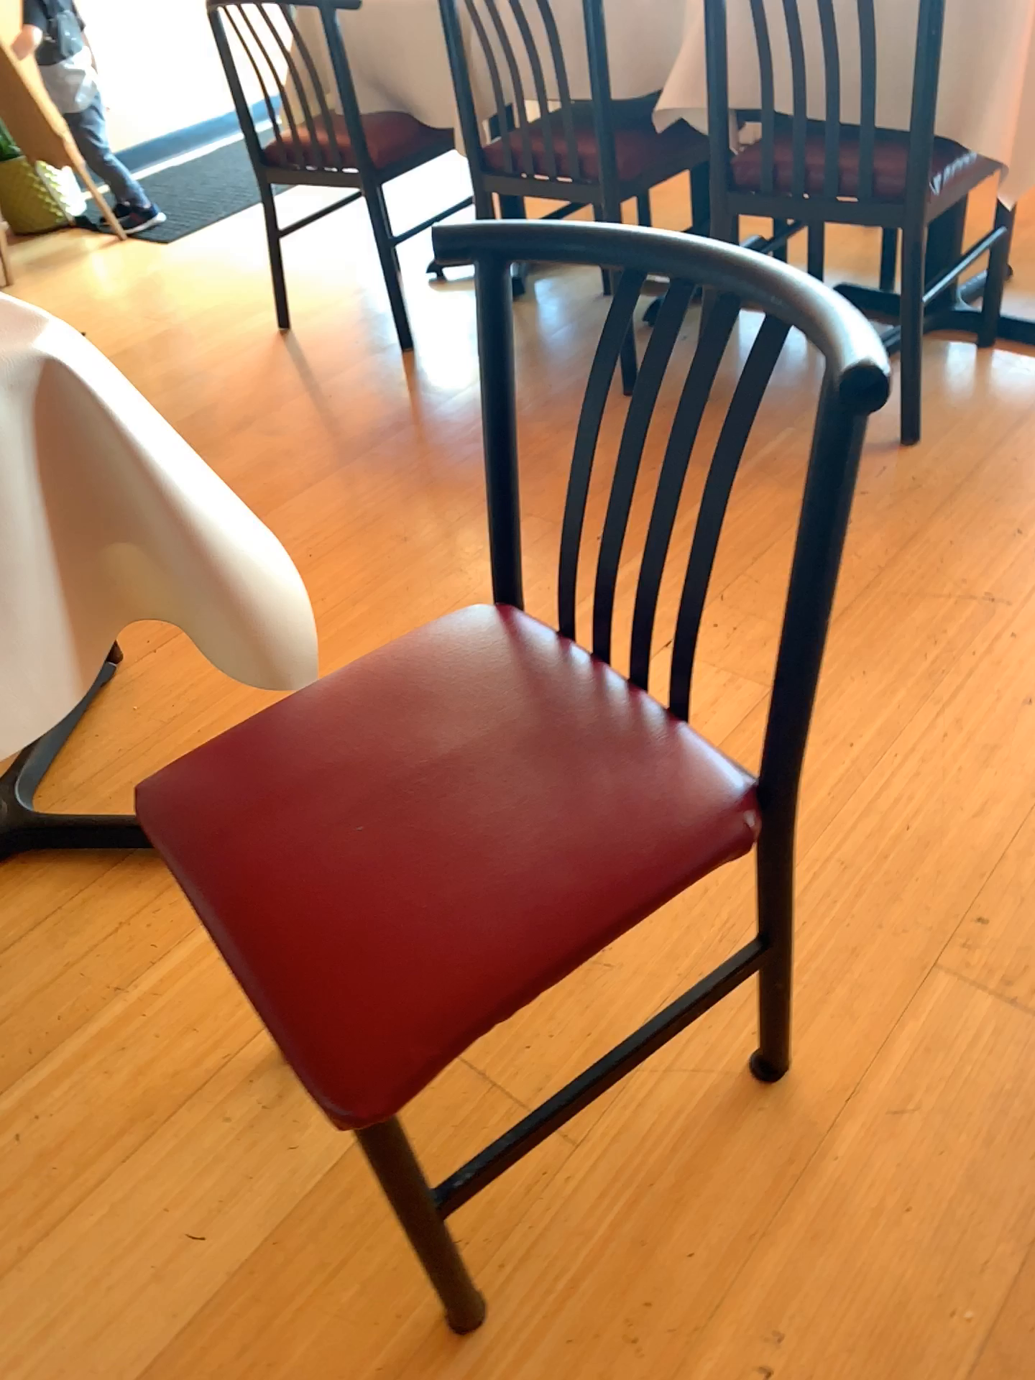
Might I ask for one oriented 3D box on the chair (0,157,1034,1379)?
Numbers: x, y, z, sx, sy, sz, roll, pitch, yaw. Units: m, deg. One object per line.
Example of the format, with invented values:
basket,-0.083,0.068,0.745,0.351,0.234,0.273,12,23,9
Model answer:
chair,-0.022,0.062,0.891,0.570,0.726,0.483,-32,46,-22
